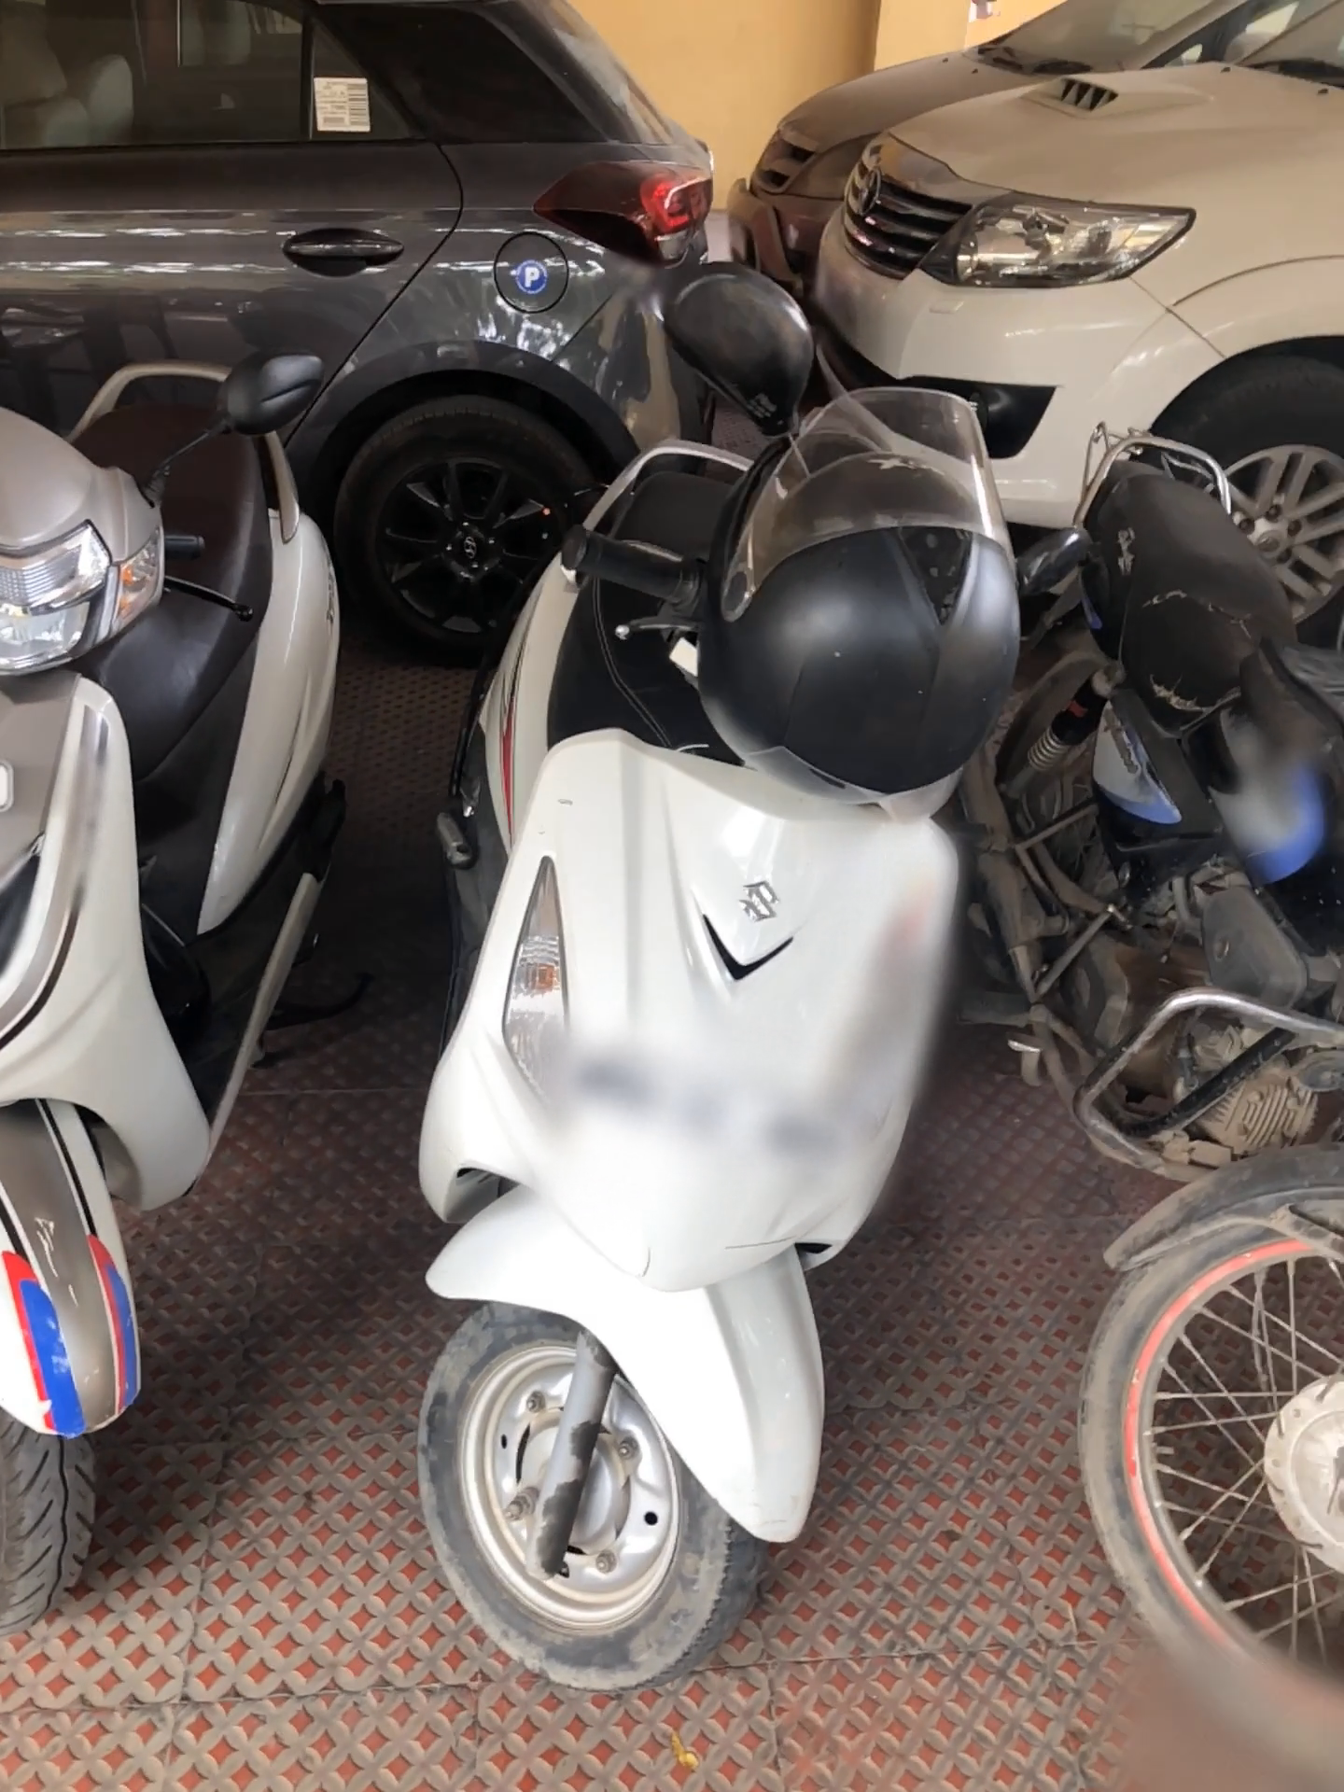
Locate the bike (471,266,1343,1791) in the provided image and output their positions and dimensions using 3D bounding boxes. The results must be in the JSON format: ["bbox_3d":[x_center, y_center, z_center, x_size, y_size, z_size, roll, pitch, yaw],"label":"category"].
[{"bbox_3d":[0.220,0.049,1.850,0.832,0.940,1.516,-3,43,-10],"label":"bike"}]
